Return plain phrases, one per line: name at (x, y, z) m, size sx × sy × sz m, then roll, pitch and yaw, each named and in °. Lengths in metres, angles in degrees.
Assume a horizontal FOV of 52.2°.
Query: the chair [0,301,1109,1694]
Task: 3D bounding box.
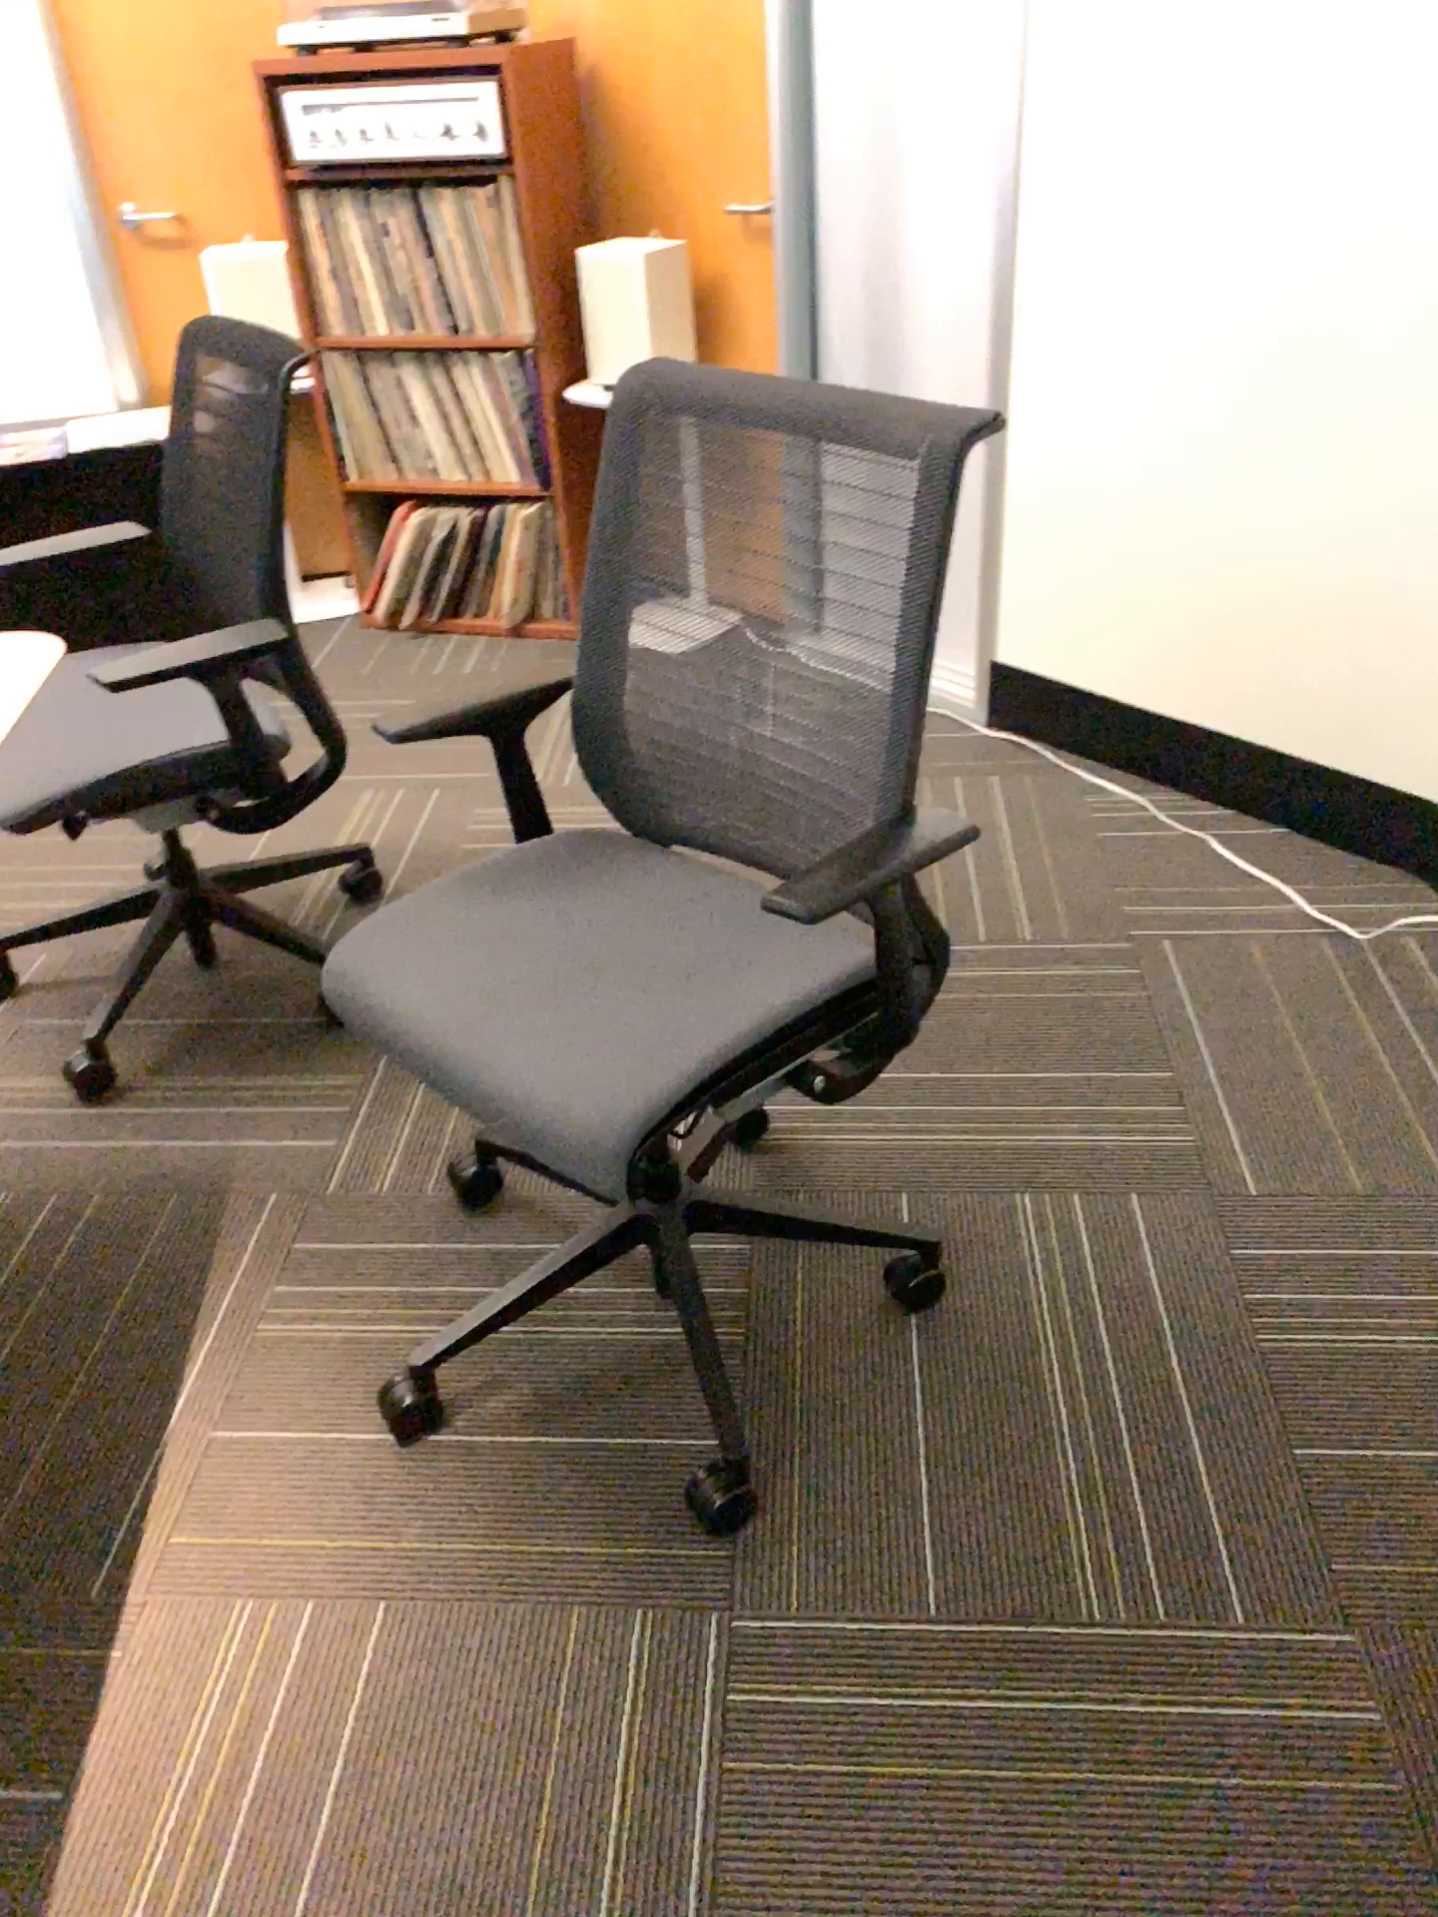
chair at (-0.168, -0.031, 1.646) m, size 0.793 × 1.113 × 0.802 m, roll 24°, pitch 43°, yaw 35°
